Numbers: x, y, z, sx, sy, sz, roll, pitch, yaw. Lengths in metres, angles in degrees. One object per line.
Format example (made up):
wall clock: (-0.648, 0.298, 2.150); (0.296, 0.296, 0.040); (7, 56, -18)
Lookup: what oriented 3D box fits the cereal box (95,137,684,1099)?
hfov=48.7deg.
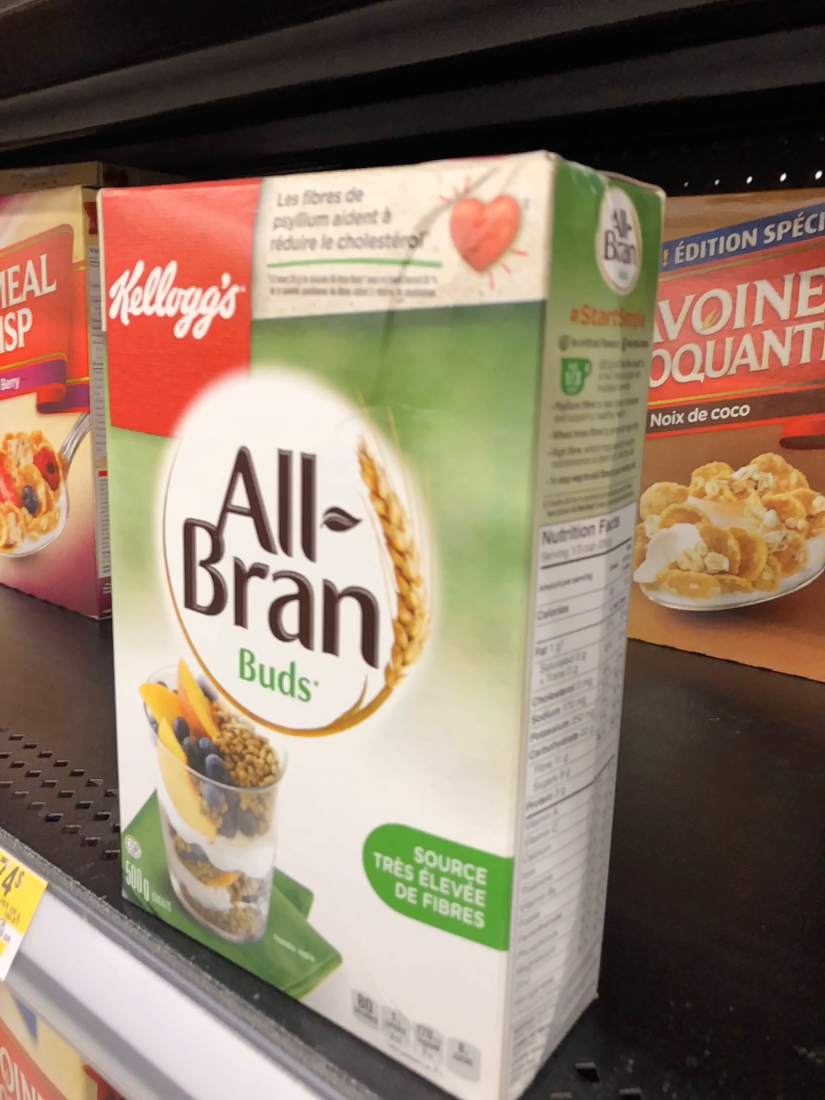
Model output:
cereal box: (-0.015, 0.013, 0.257); (0.150, 0.219, 0.050); (11, 17, 35)
